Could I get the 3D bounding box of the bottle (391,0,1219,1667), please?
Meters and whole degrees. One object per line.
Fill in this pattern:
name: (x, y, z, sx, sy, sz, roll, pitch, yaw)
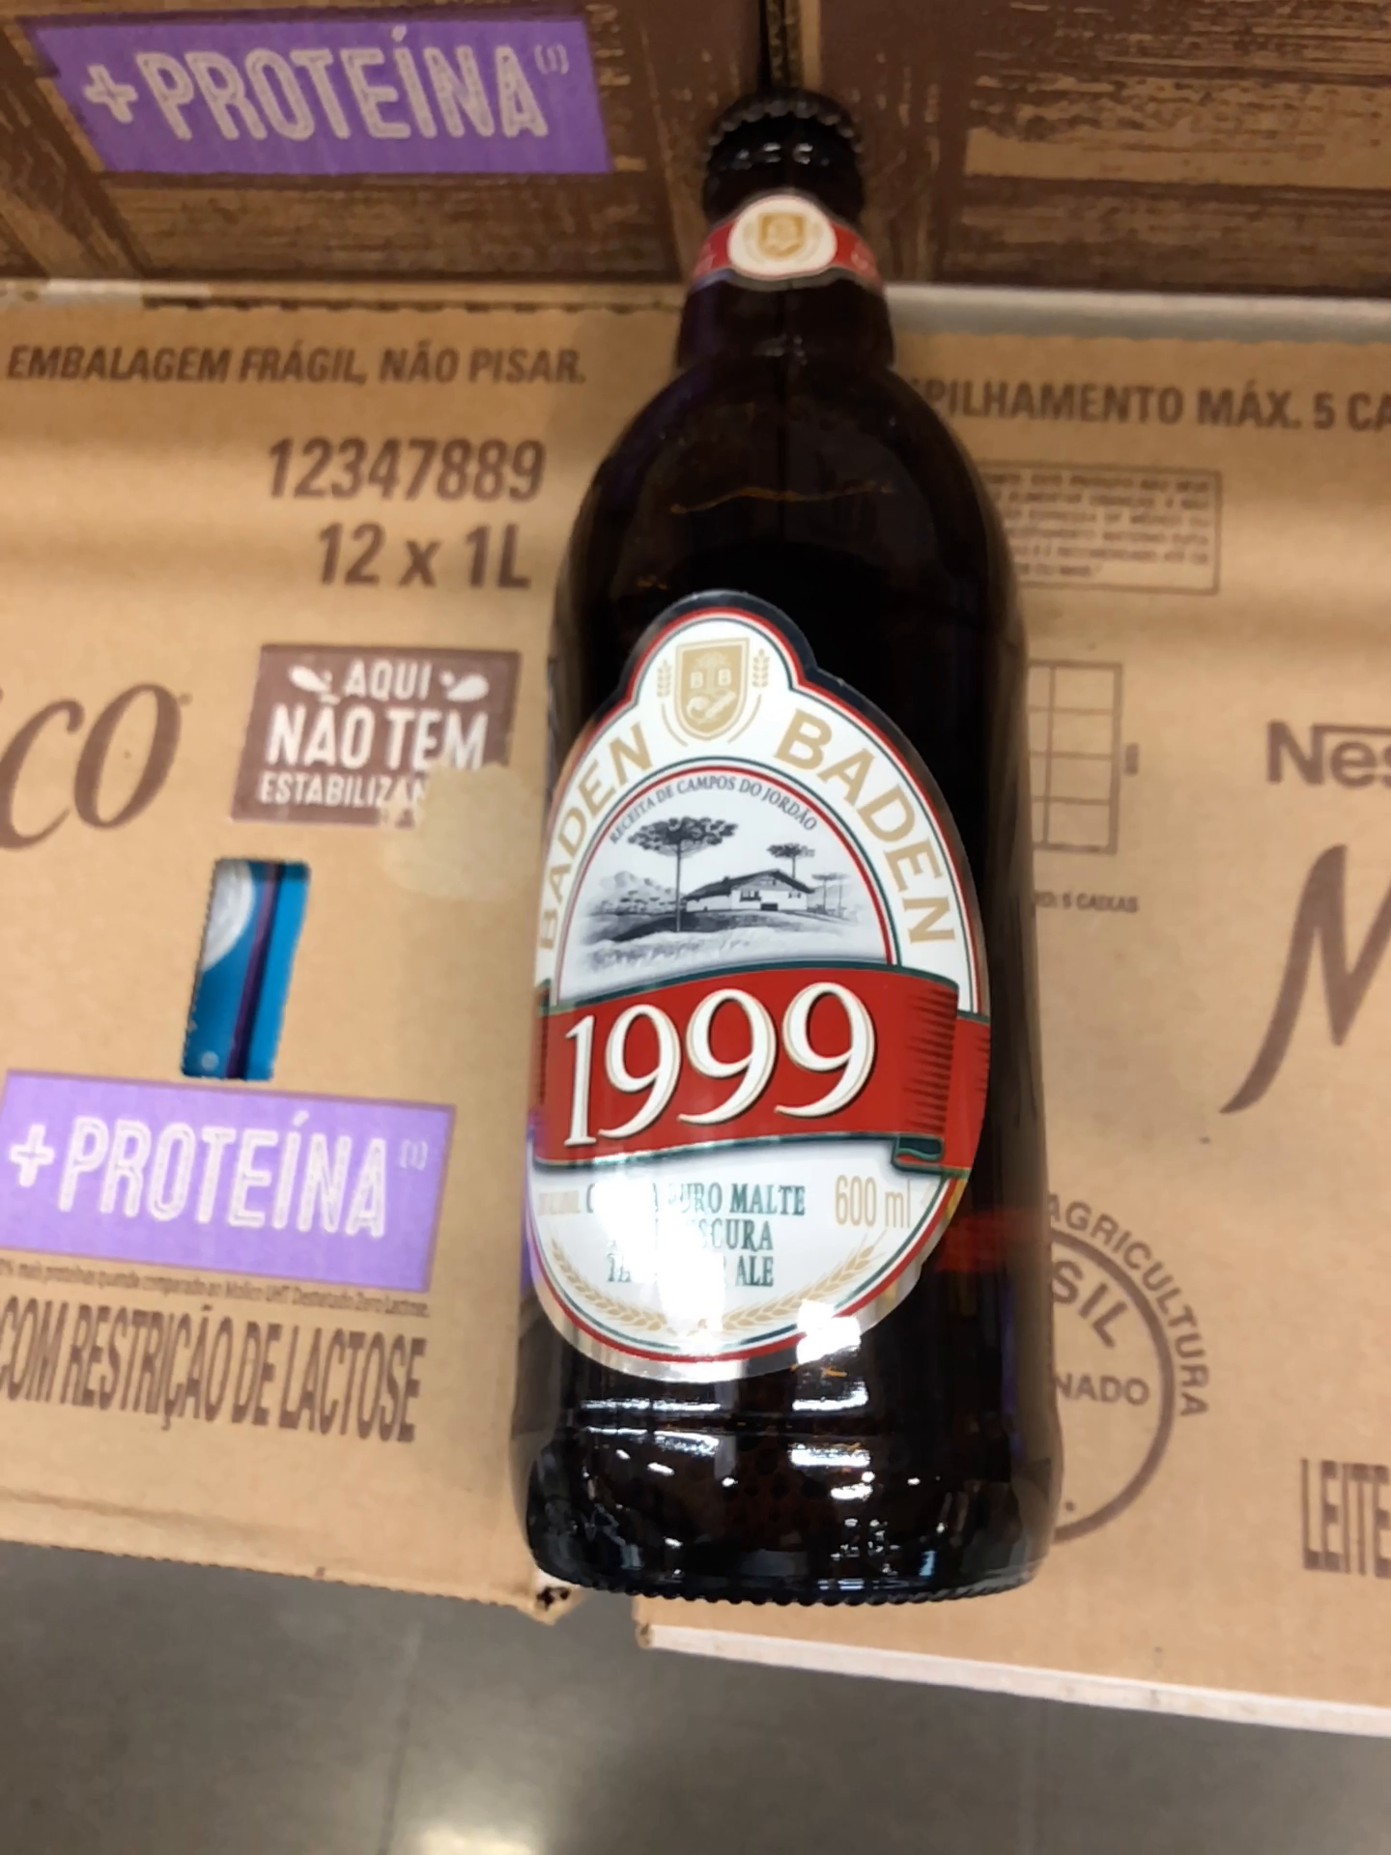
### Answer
bottle: (0.016, -0.040, 0.259, 0.090, 0.100, 0.280, -2, 73, 6)
